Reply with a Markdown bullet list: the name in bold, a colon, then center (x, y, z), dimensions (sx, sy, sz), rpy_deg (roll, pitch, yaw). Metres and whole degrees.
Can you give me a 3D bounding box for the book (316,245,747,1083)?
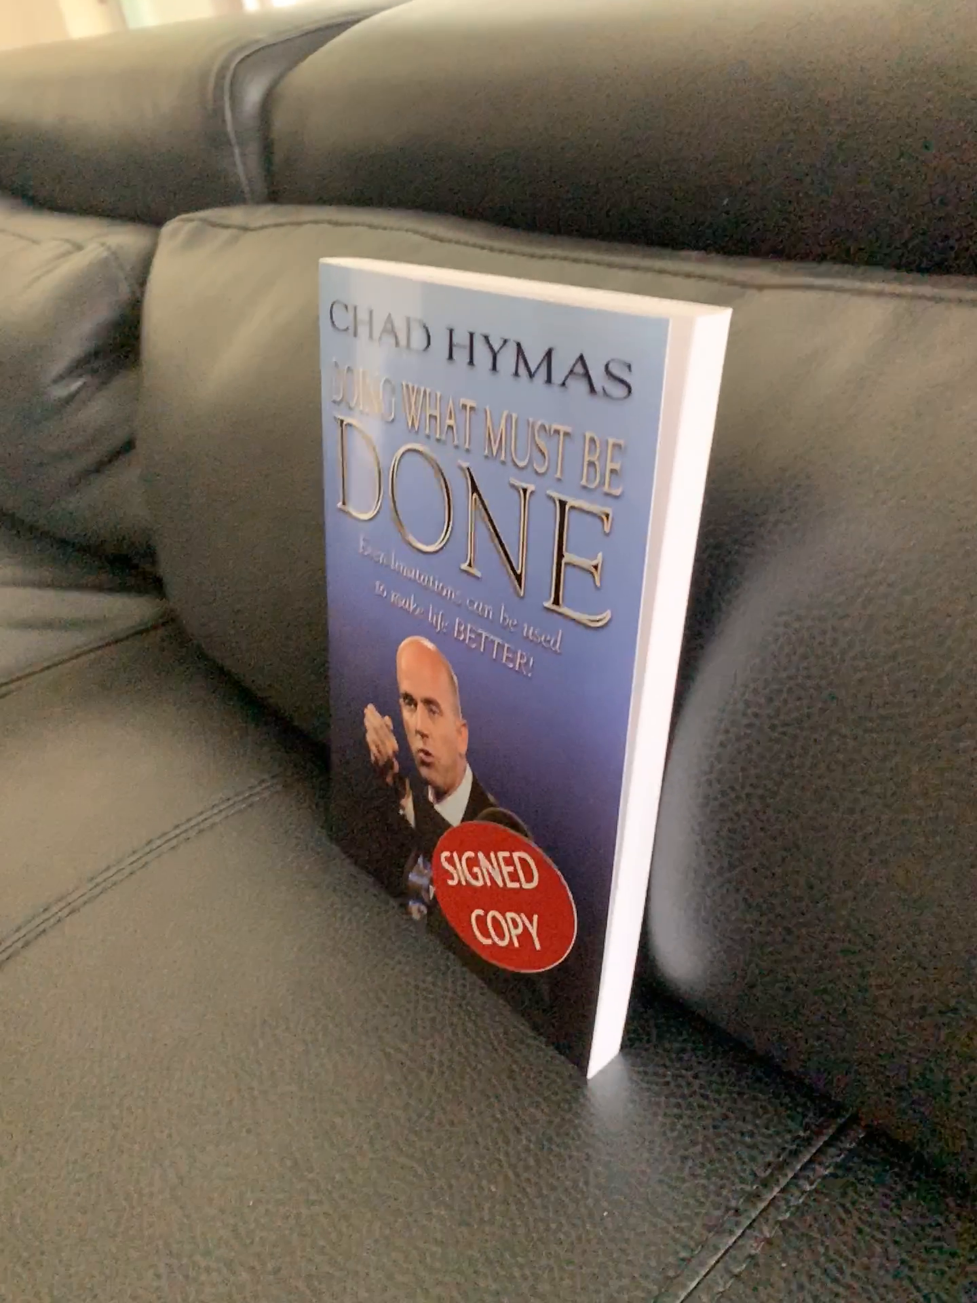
- **book**: center (-0.006, -0.003, 0.325), dimensions (0.025, 0.225, 0.157), rpy_deg (-14, 30, -35)
